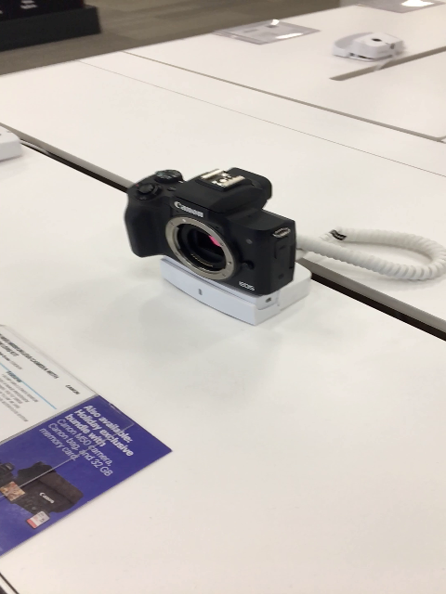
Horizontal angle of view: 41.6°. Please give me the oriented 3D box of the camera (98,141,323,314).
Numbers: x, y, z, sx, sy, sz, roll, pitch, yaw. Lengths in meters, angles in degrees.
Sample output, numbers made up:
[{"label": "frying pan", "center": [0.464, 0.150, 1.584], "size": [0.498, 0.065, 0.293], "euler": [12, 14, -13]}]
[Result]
[{"label": "camera", "center": [-0.011, -0.051, 0.407], "size": [0.127, 0.075, 0.059], "euler": [28, 52, 29]}]
